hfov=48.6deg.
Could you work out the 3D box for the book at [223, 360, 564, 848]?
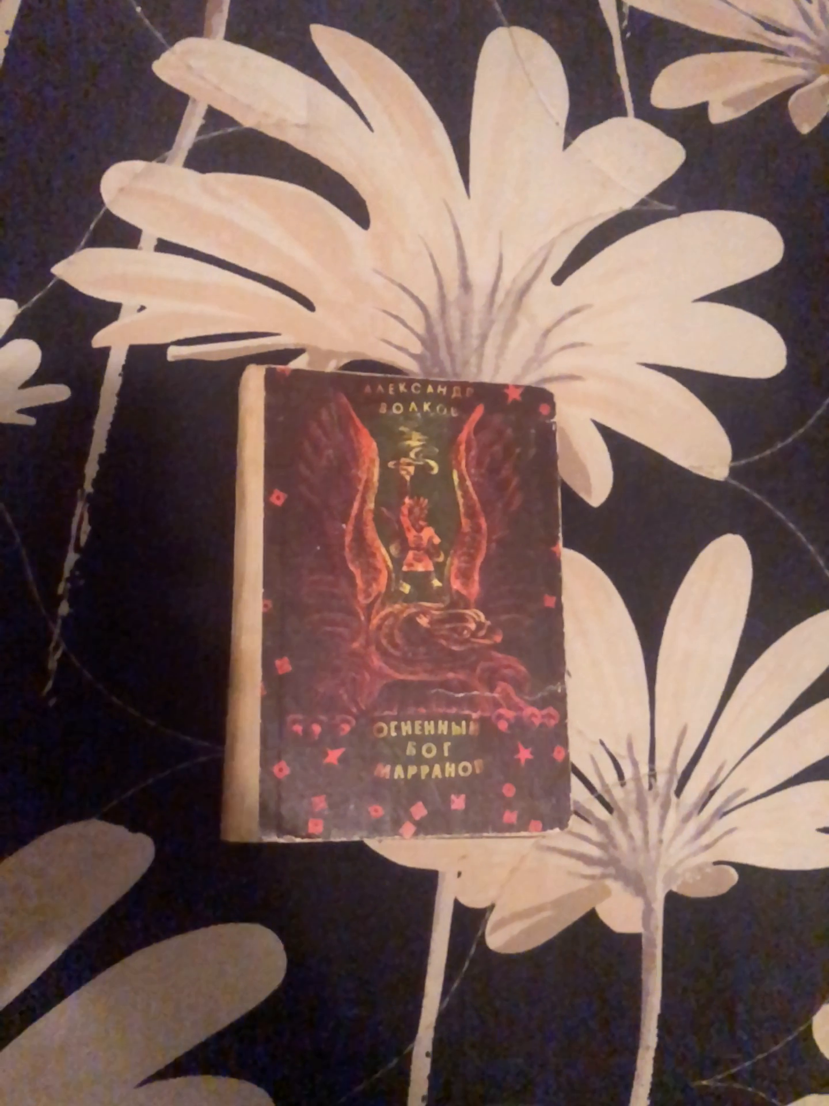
[{"bbox_3d":[-0.006,0.023,0.425,0.152,0.019,0.211,3,83,-14],"label":"book"}]
